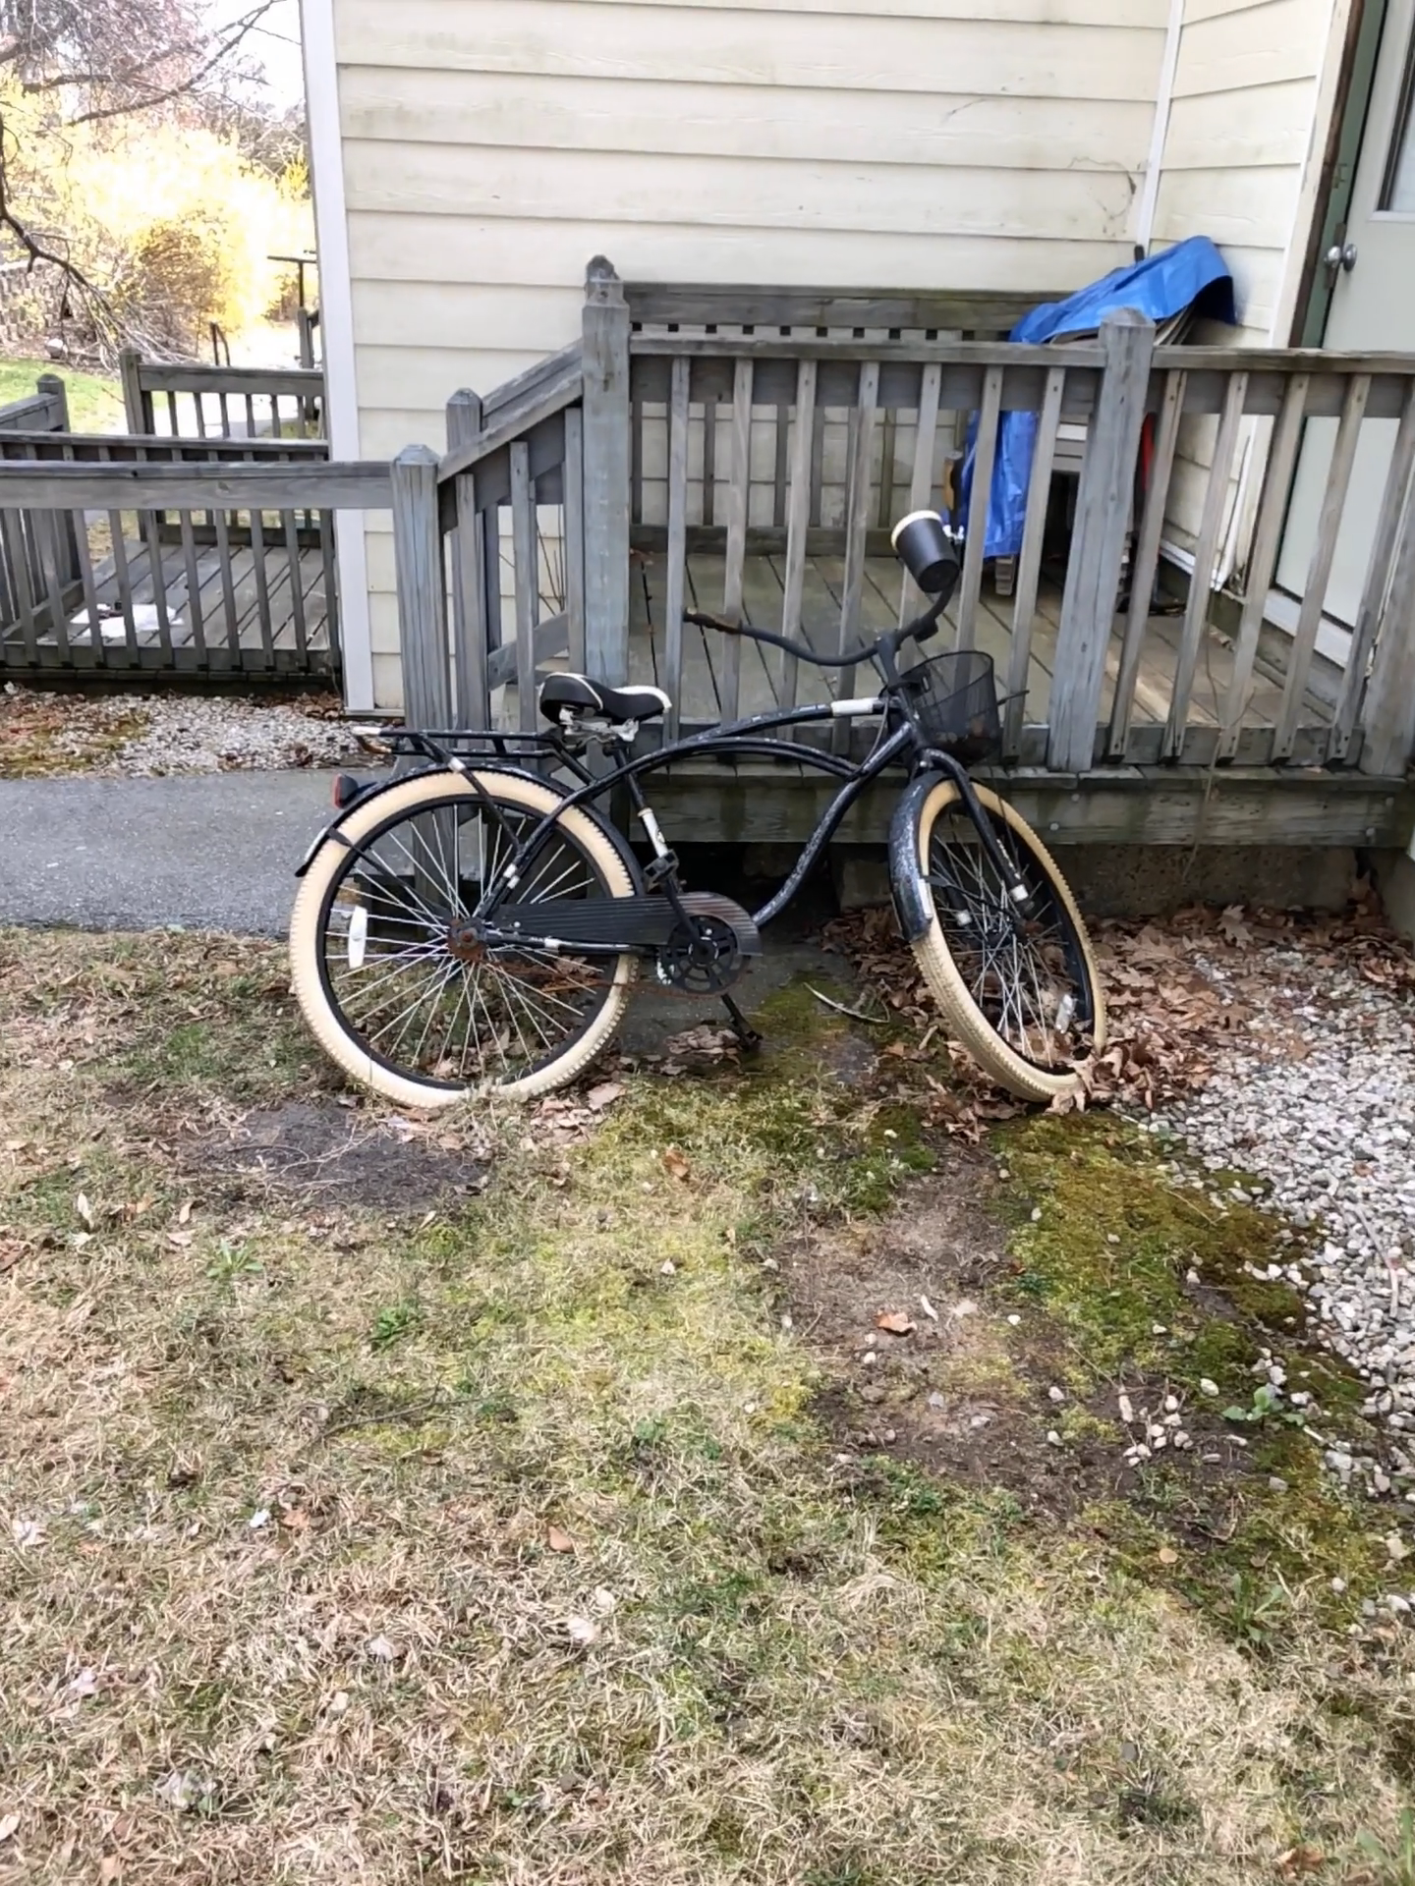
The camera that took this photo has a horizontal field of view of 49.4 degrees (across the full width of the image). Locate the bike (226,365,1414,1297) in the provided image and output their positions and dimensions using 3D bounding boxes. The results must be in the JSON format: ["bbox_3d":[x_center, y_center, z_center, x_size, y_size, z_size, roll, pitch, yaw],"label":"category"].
[{"bbox_3d":[0.112,-0.280,2.894,1.610,1.314,0.942,-8,27,-14],"label":"bike"}]
